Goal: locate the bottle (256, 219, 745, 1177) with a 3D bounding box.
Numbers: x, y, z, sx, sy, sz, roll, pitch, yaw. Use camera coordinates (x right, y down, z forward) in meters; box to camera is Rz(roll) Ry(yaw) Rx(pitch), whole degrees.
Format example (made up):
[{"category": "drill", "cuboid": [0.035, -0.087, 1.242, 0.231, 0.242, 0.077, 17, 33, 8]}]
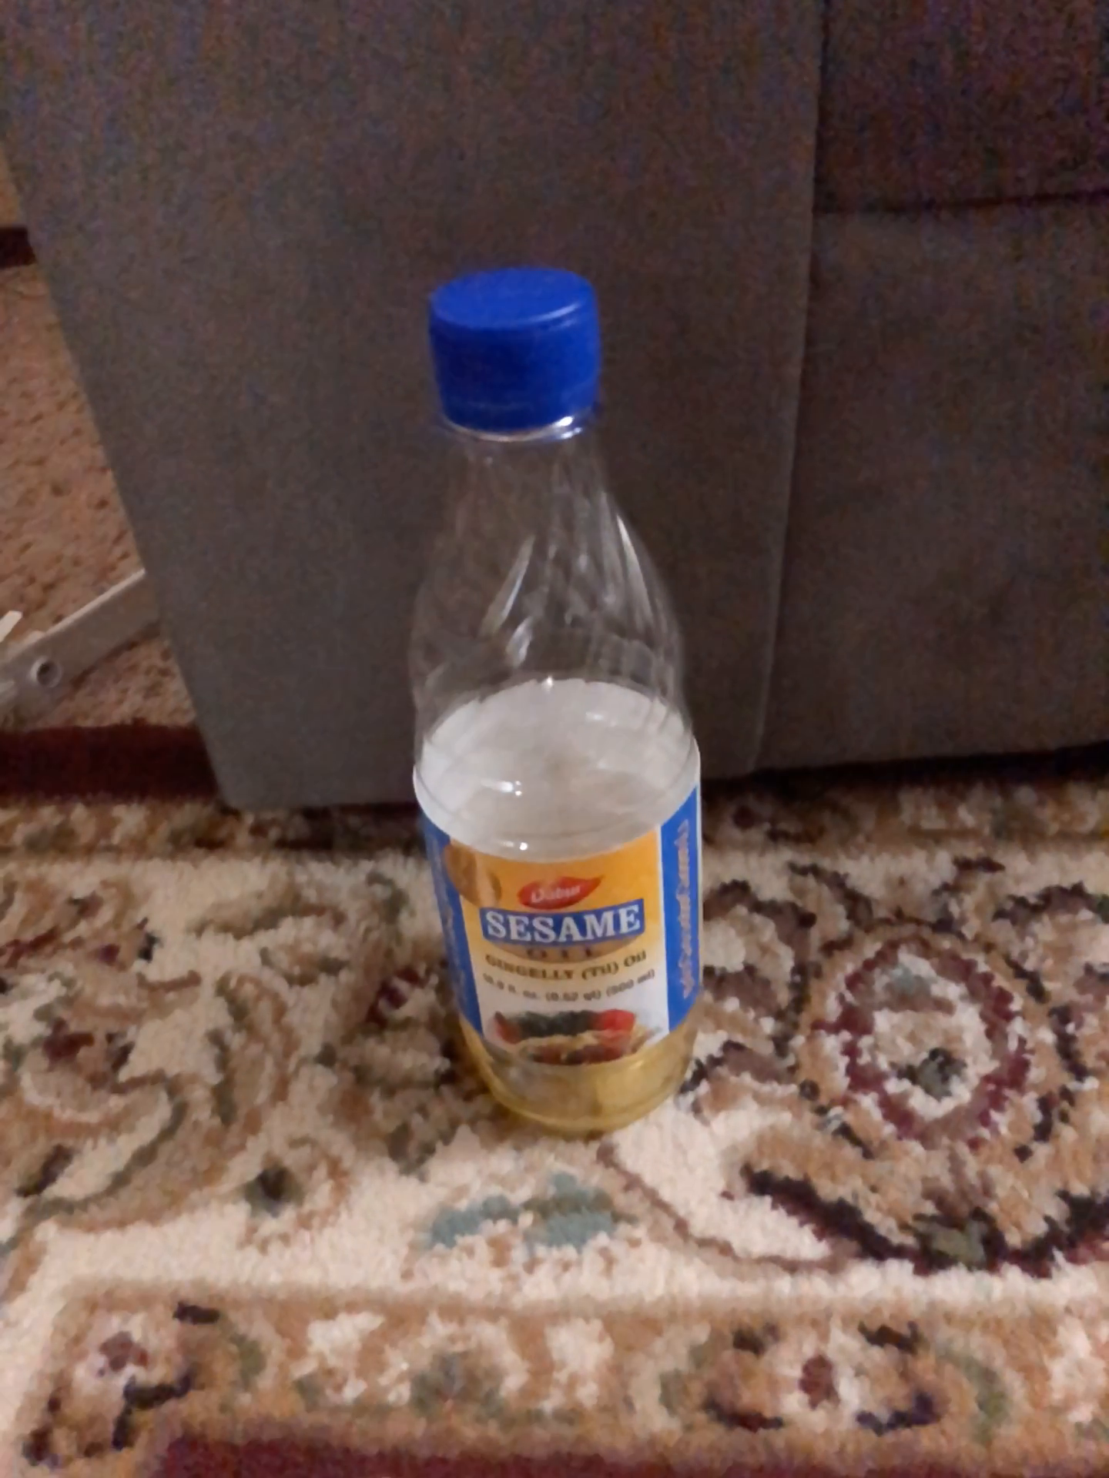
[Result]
[{"category": "bottle", "cuboid": [0.002, 0.004, 0.268, 0.070, 0.199, 0.070, -5, 36, 4]}]
